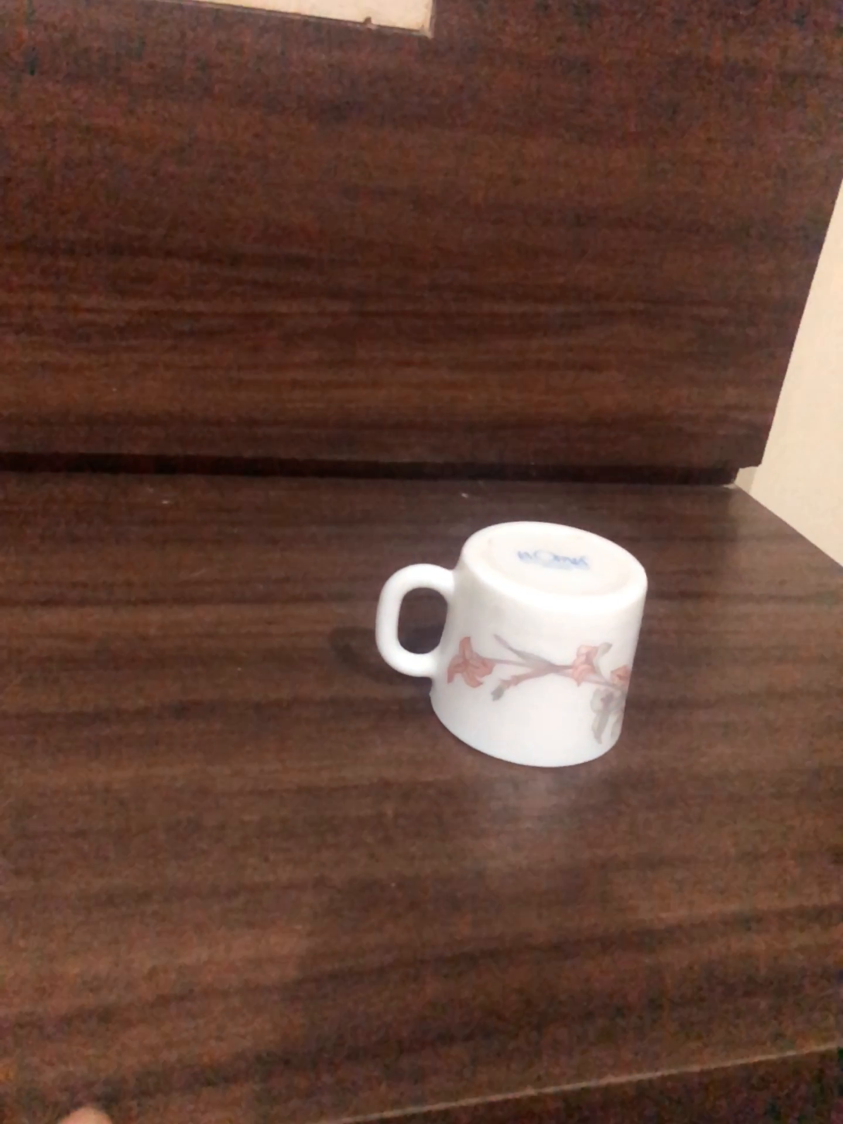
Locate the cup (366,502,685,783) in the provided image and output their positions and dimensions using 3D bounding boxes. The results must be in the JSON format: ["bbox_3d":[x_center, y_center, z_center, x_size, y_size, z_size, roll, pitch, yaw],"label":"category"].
[{"bbox_3d":[0.029,0.027,0.320,0.090,0.070,0.060,3,30,-7],"label":"cup"}]
